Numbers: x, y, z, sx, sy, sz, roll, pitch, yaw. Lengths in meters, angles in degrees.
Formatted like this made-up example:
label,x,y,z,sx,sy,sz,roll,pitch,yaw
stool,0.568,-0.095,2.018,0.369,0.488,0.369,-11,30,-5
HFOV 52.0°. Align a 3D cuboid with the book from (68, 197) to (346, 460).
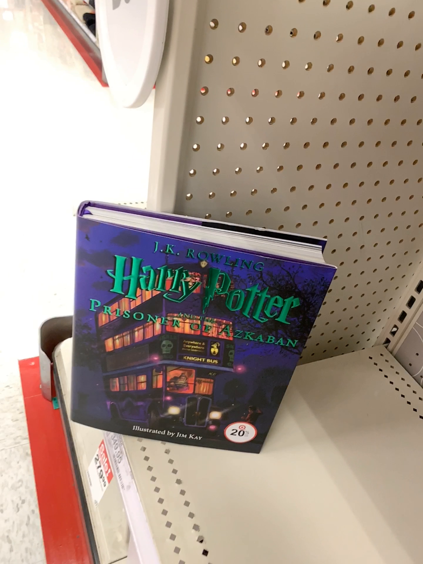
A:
label,x,y,z,sx,sy,sz,roll,pitch,yaw
book,-0.024,0.069,0.466,0.240,0.280,0.050,9,33,-3
